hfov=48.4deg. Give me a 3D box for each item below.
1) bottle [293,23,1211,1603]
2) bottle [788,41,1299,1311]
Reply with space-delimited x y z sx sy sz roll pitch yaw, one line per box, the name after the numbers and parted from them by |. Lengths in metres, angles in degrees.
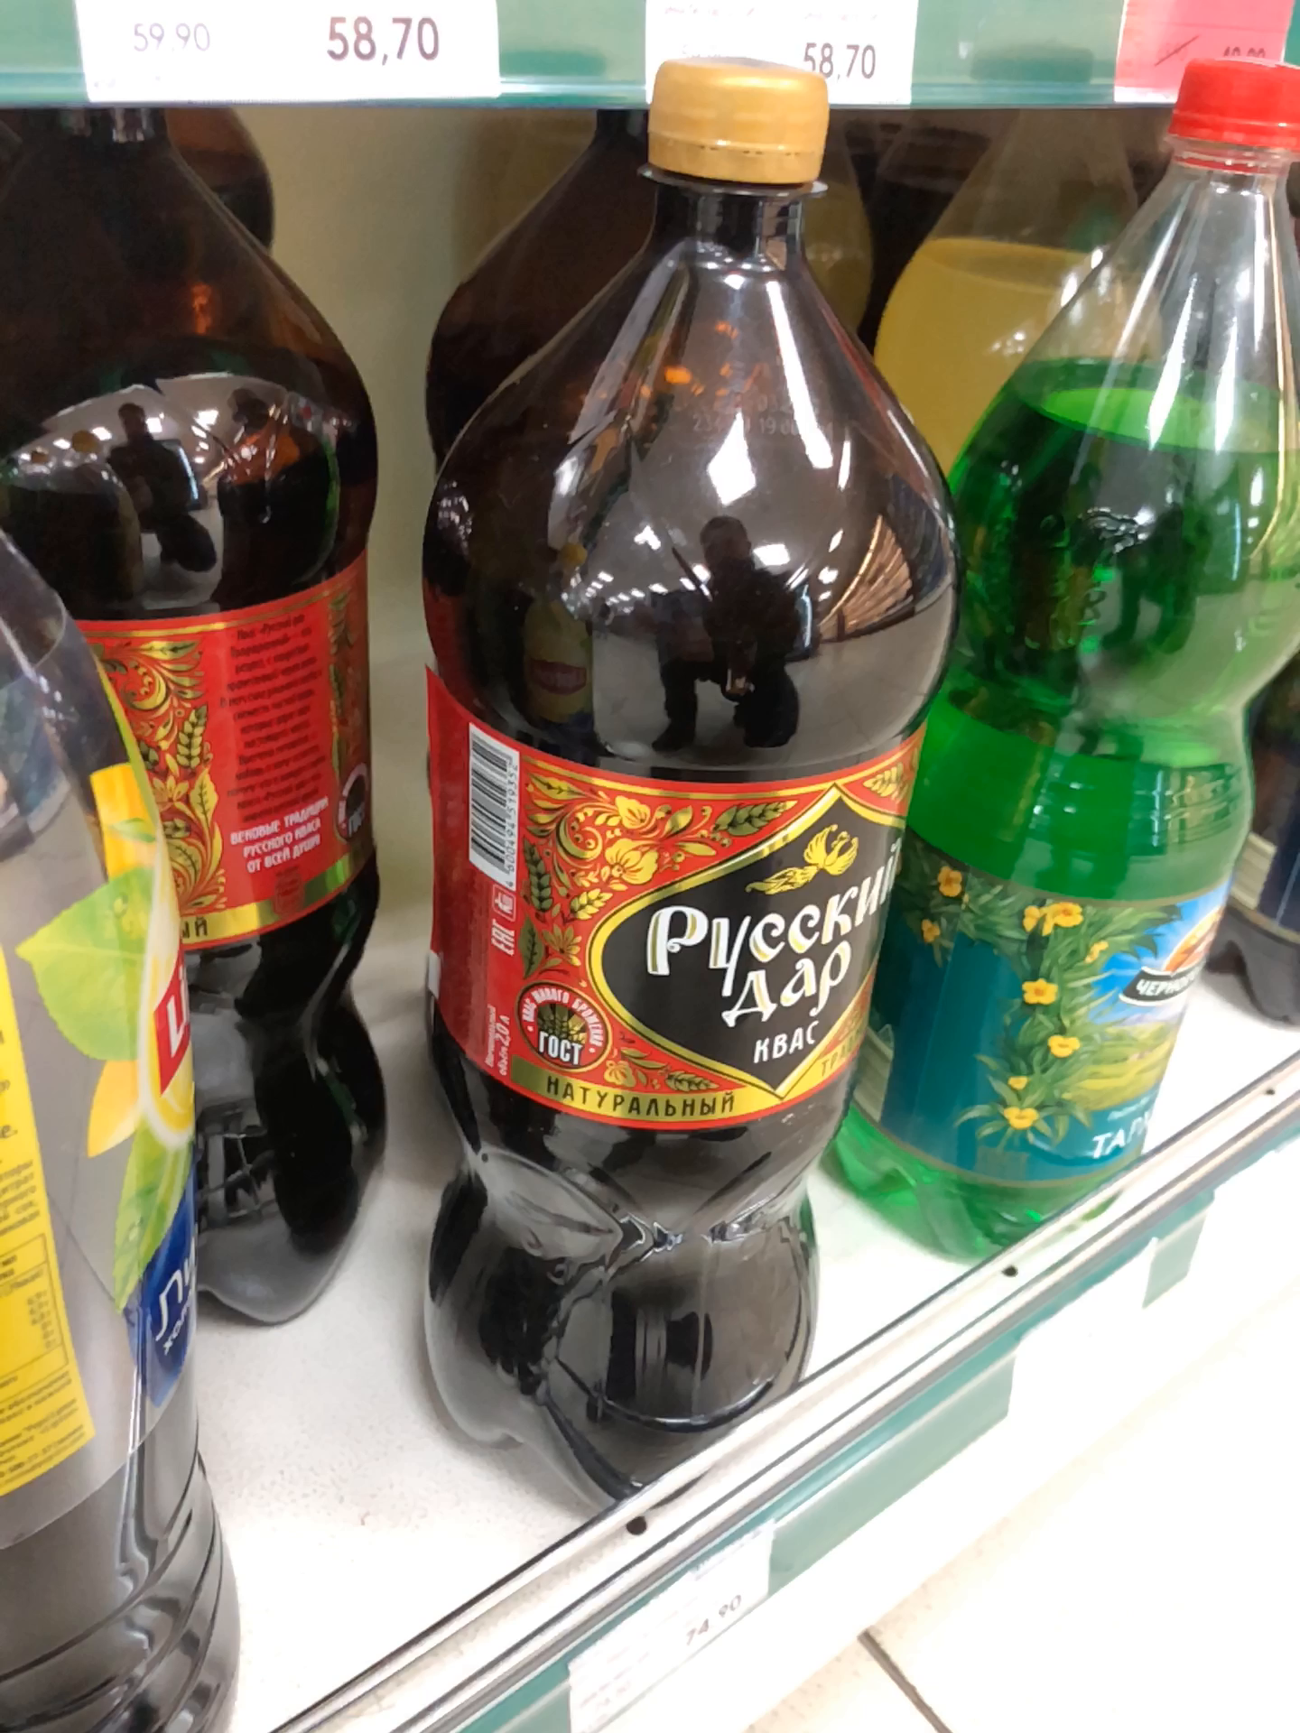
0.002 0.005 0.321 0.110 0.322 0.100 4 34 -3 | bottle
0.124 -0.035 0.400 0.099 0.327 0.085 -17 40 -30 | bottle
